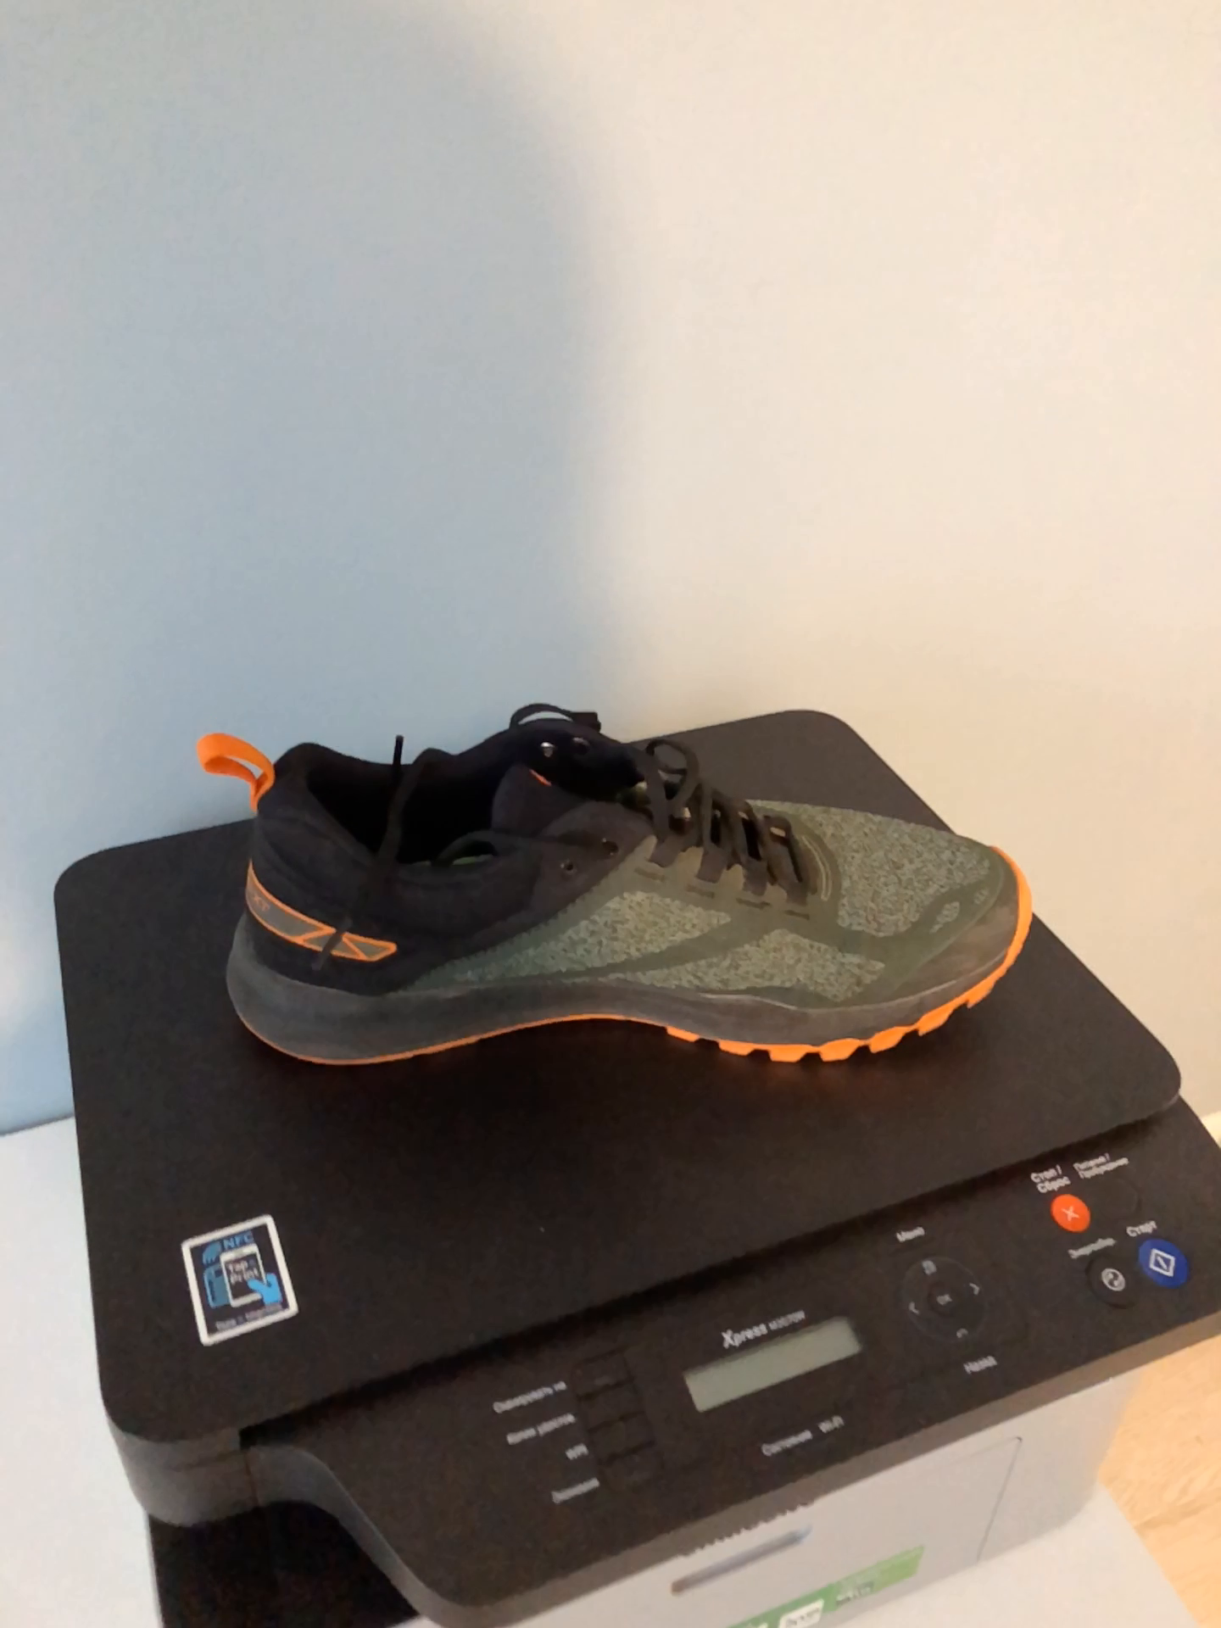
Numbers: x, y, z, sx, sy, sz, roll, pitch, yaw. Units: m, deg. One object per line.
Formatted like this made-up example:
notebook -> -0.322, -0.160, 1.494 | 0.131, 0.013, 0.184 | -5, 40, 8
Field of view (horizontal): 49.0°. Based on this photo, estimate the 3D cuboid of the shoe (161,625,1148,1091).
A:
shoe -> 0.012, 0.012, 0.502 | 0.310, 0.119, 0.121 | -1, 36, -4
